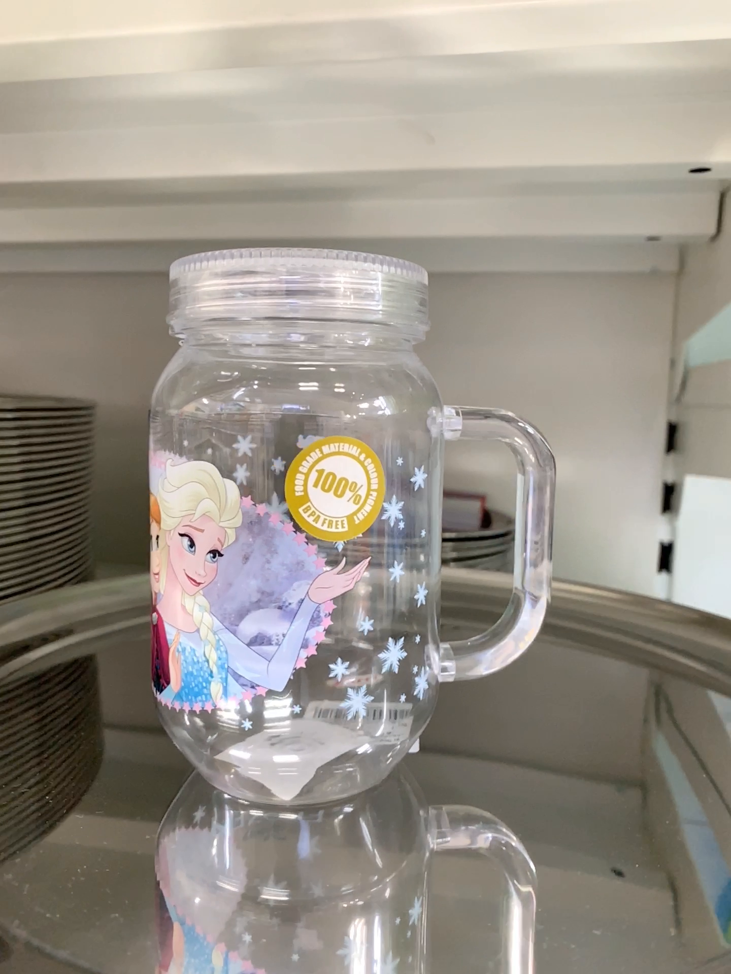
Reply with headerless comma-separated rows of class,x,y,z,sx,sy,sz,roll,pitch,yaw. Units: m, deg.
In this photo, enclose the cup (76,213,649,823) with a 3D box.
cup,-0.003,0.005,0.201,0.120,0.130,0.070,2,5,-1
